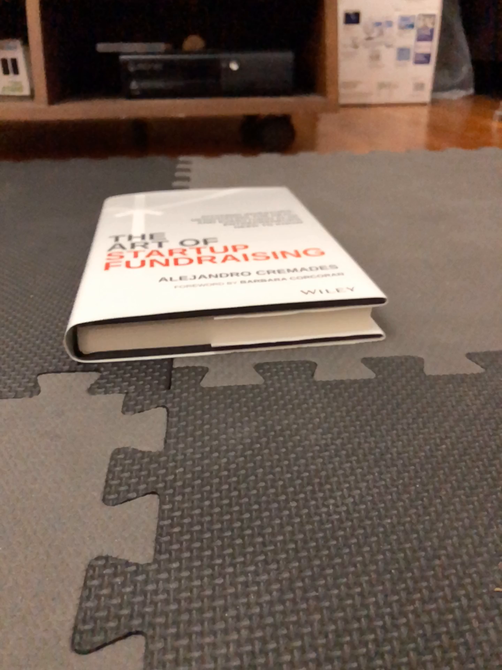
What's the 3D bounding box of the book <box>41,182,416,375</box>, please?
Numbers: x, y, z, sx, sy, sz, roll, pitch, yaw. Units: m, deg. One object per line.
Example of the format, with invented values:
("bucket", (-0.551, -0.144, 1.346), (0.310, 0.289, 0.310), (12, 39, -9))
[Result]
("book", (-0.023, -0.057, 0.372), (0.170, 0.030, 0.251), (-4, 27, -6))
